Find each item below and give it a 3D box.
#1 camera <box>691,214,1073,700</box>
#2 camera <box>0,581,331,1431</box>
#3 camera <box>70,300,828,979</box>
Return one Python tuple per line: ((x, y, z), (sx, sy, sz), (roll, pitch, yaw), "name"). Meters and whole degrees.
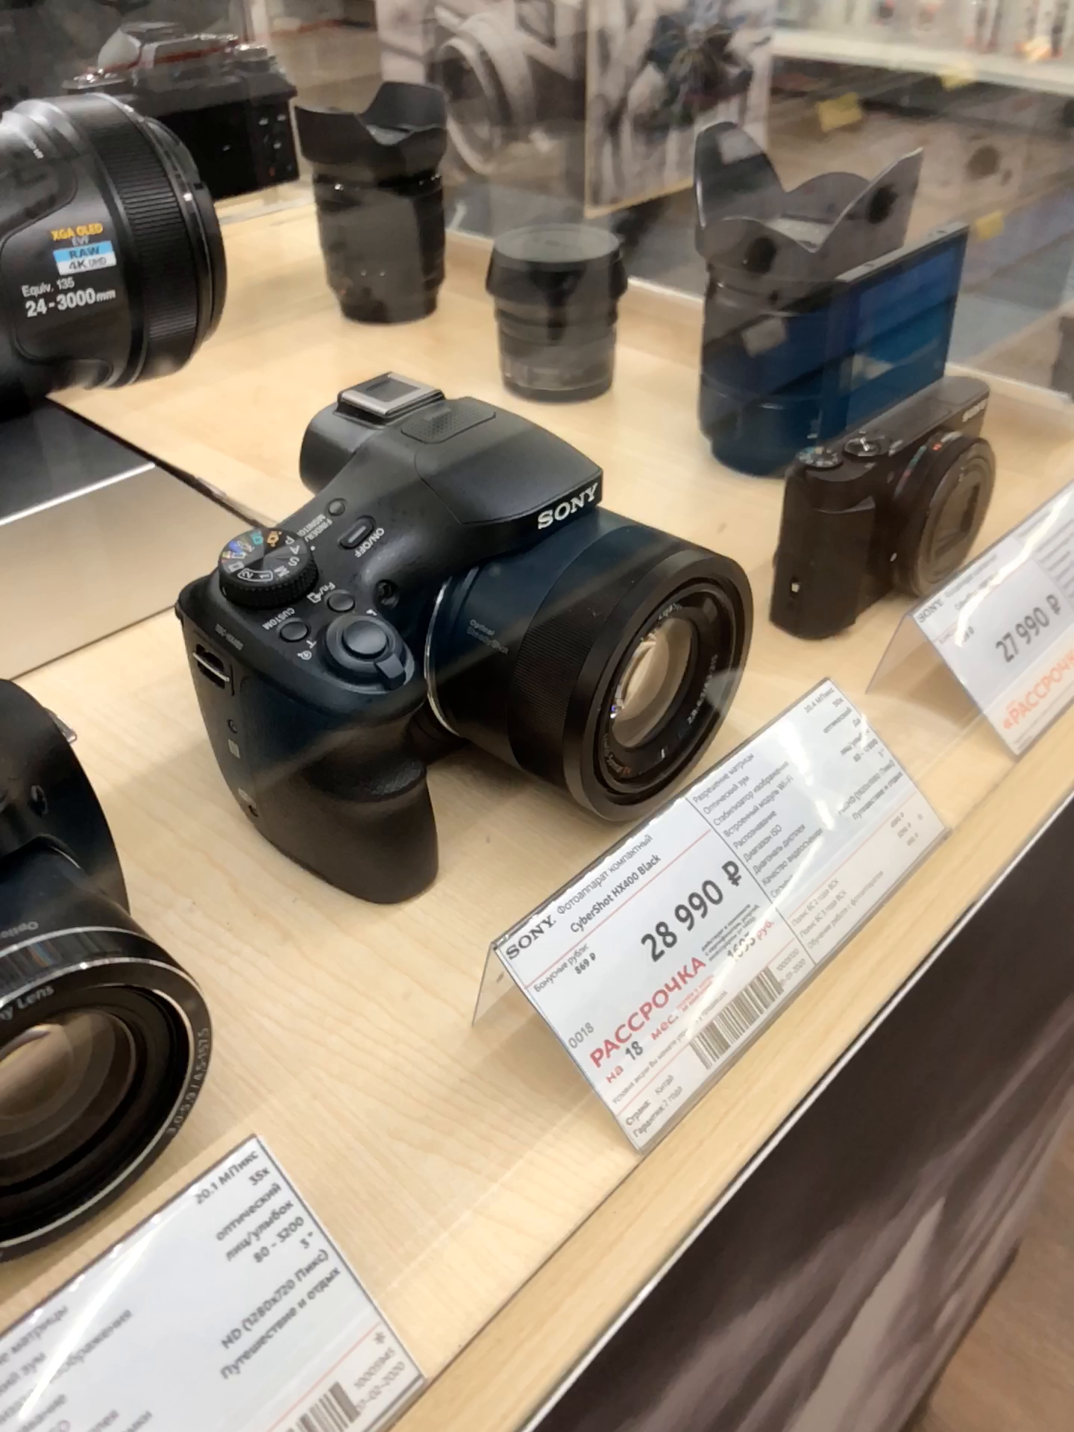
((0.115, -0.090, 0.398), (0.056, 0.113, 0.125), (28, 46, 33), "camera")
((-0.119, 0.048, 0.213), (0.096, 0.073, 0.122), (28, 46, 33), "camera")
((-0.015, -0.031, 0.295), (0.104, 0.086, 0.138), (28, 46, 33), "camera")
